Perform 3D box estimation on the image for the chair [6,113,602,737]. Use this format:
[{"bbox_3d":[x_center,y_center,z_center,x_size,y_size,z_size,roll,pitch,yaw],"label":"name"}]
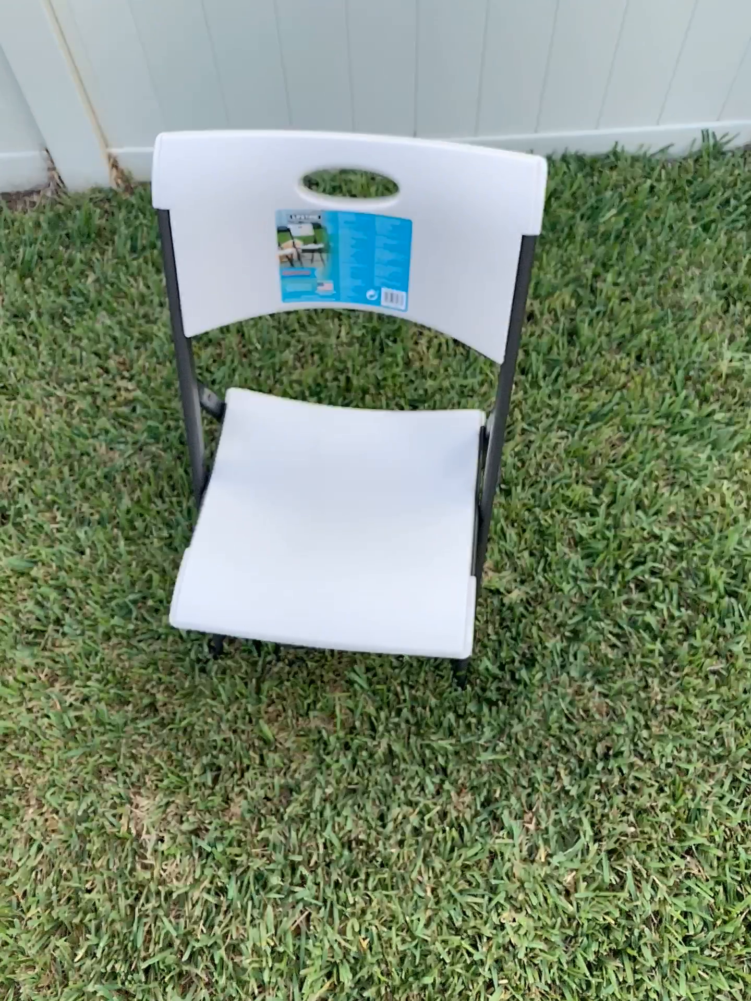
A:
[{"bbox_3d":[-0.027,-0.035,1.123,0.518,0.768,0.518,5,61,5],"label":"chair"}]
